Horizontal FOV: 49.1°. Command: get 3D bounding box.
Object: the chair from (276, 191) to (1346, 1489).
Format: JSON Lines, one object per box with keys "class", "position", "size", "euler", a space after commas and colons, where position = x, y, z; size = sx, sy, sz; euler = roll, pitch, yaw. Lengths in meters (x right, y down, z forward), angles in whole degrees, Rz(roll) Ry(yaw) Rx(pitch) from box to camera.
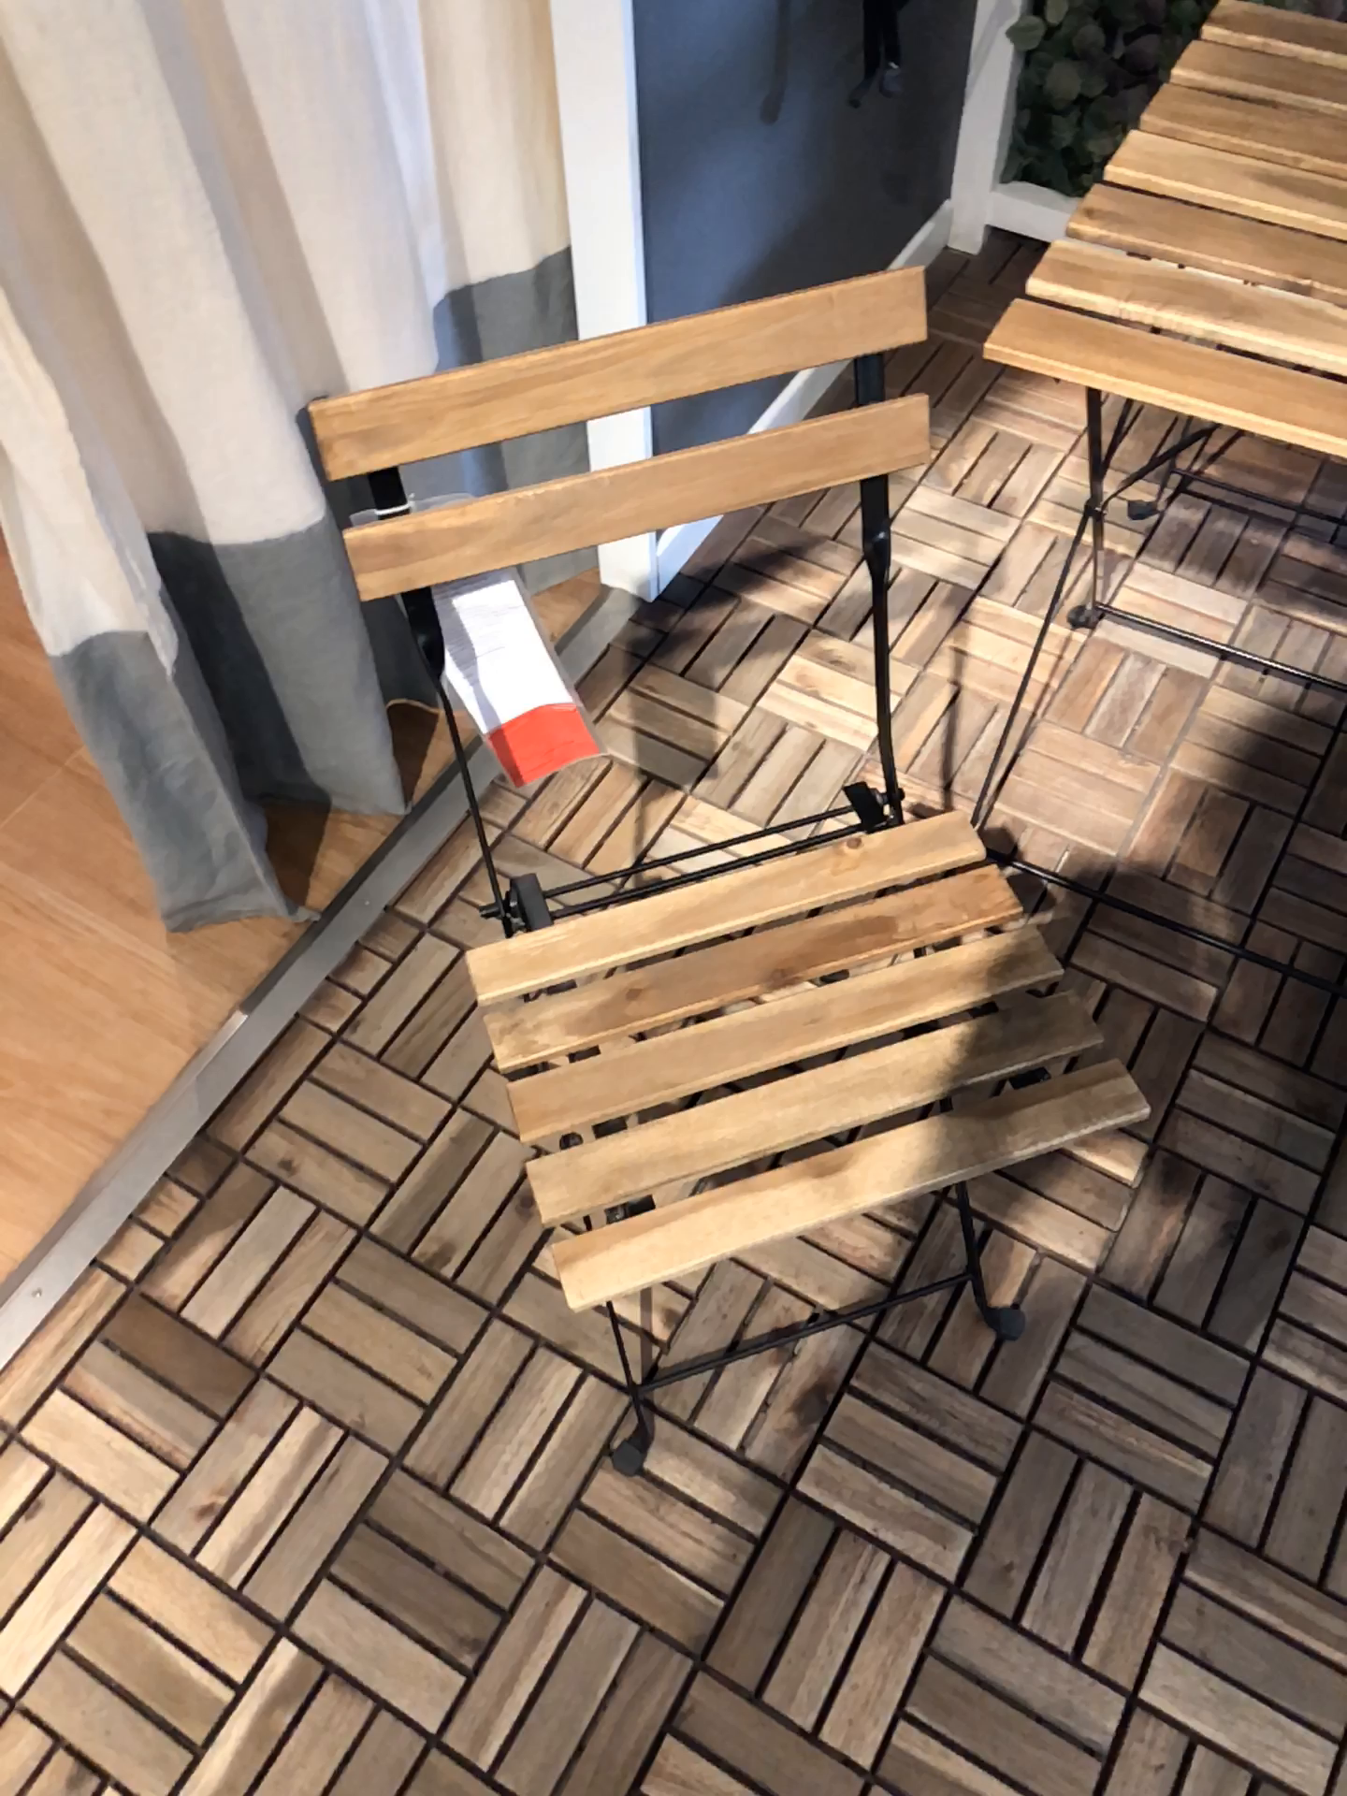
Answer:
{"class": "chair", "position": [0.069, 0.025, 0.995], "size": [0.430, 0.726, 0.432], "euler": [-16, 56, -9]}
